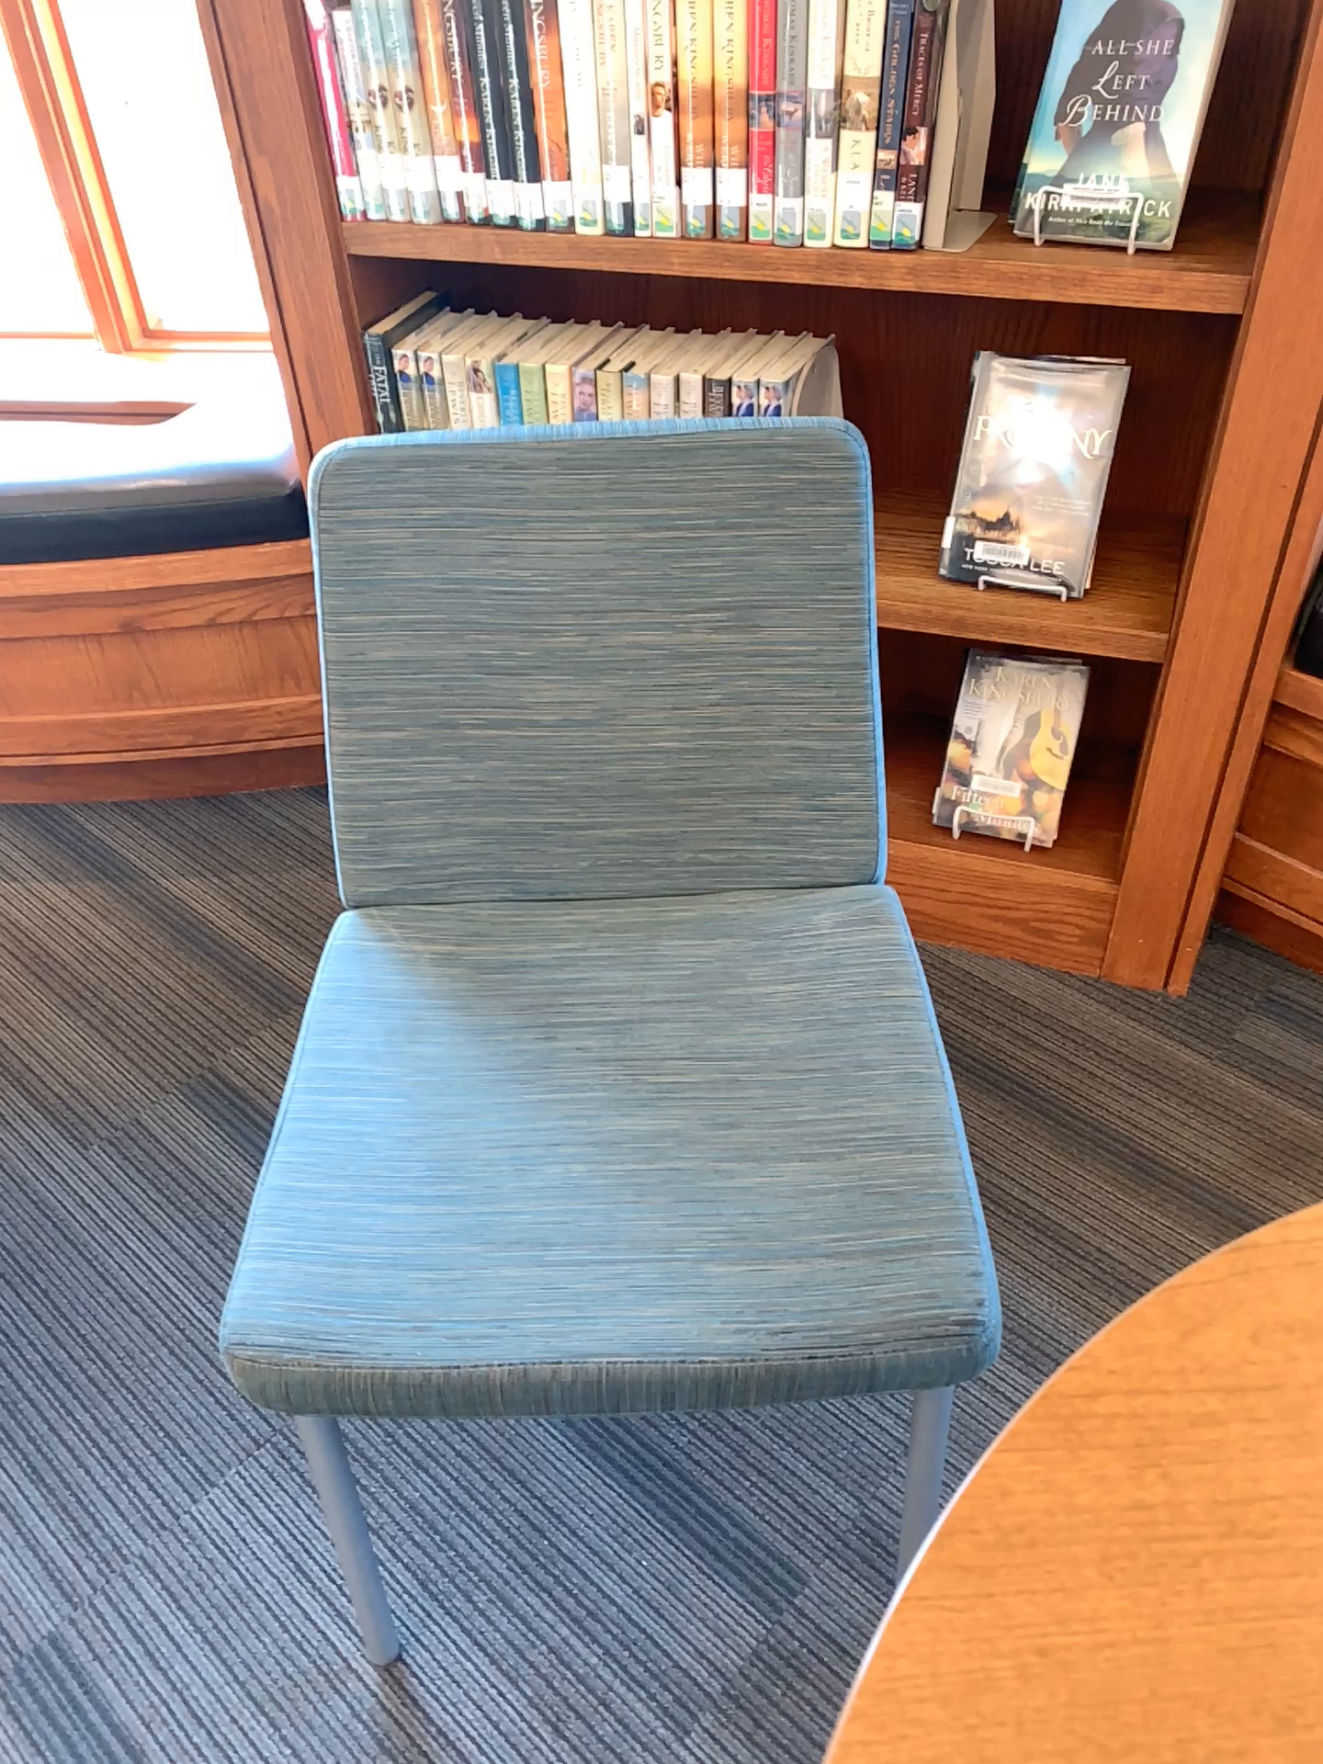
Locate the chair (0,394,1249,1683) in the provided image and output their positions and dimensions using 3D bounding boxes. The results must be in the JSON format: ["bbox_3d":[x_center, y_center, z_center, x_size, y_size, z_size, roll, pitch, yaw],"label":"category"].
[{"bbox_3d":[-0.019,0.136,1.040,0.550,0.786,0.593,-2,40,1],"label":"chair"}]
